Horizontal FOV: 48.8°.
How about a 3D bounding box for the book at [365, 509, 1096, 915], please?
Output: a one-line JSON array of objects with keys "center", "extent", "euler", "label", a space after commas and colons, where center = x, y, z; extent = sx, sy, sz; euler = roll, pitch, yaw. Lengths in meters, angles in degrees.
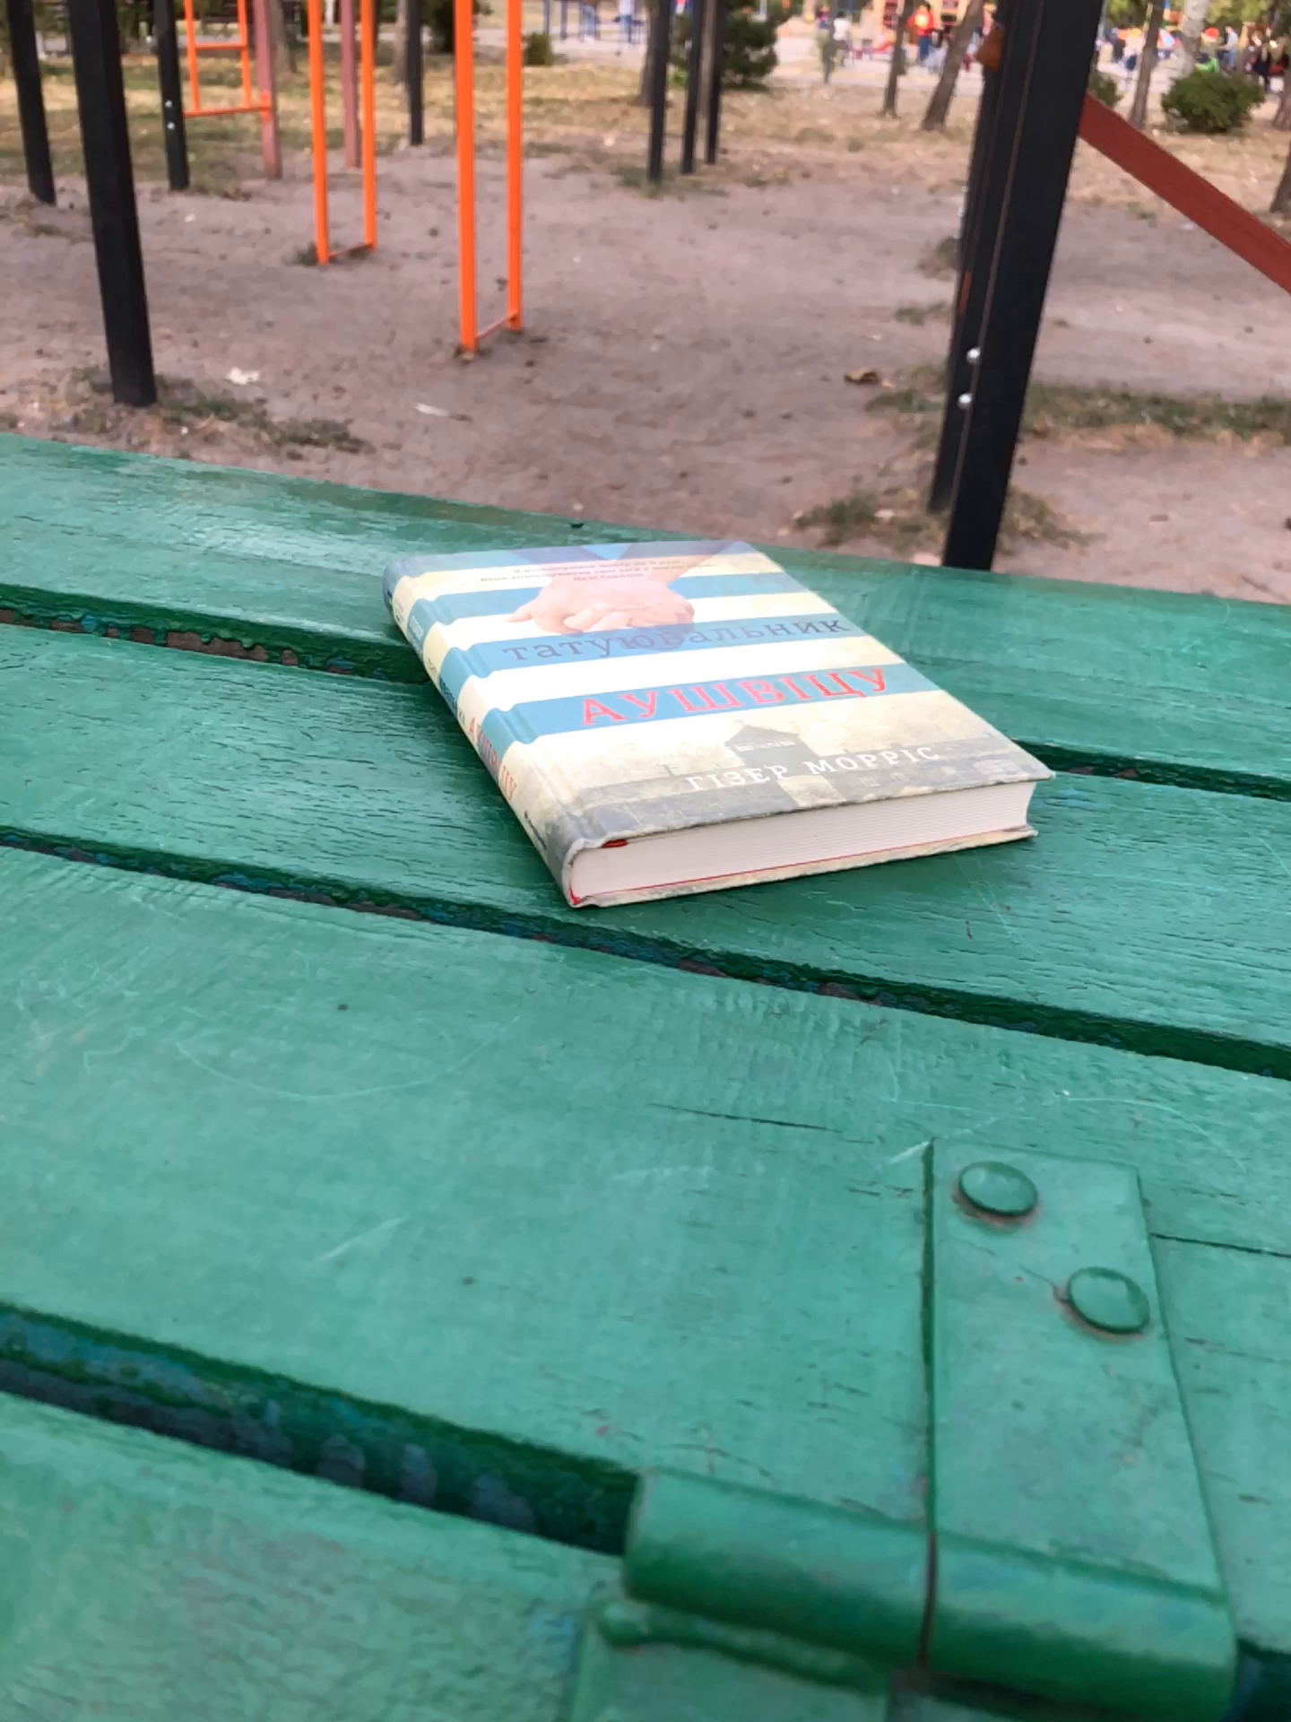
[{"center": [0.010, -0.062, 0.450], "extent": [0.152, 0.025, 0.219], "euler": [-8, 33, -20], "label": "book"}]
